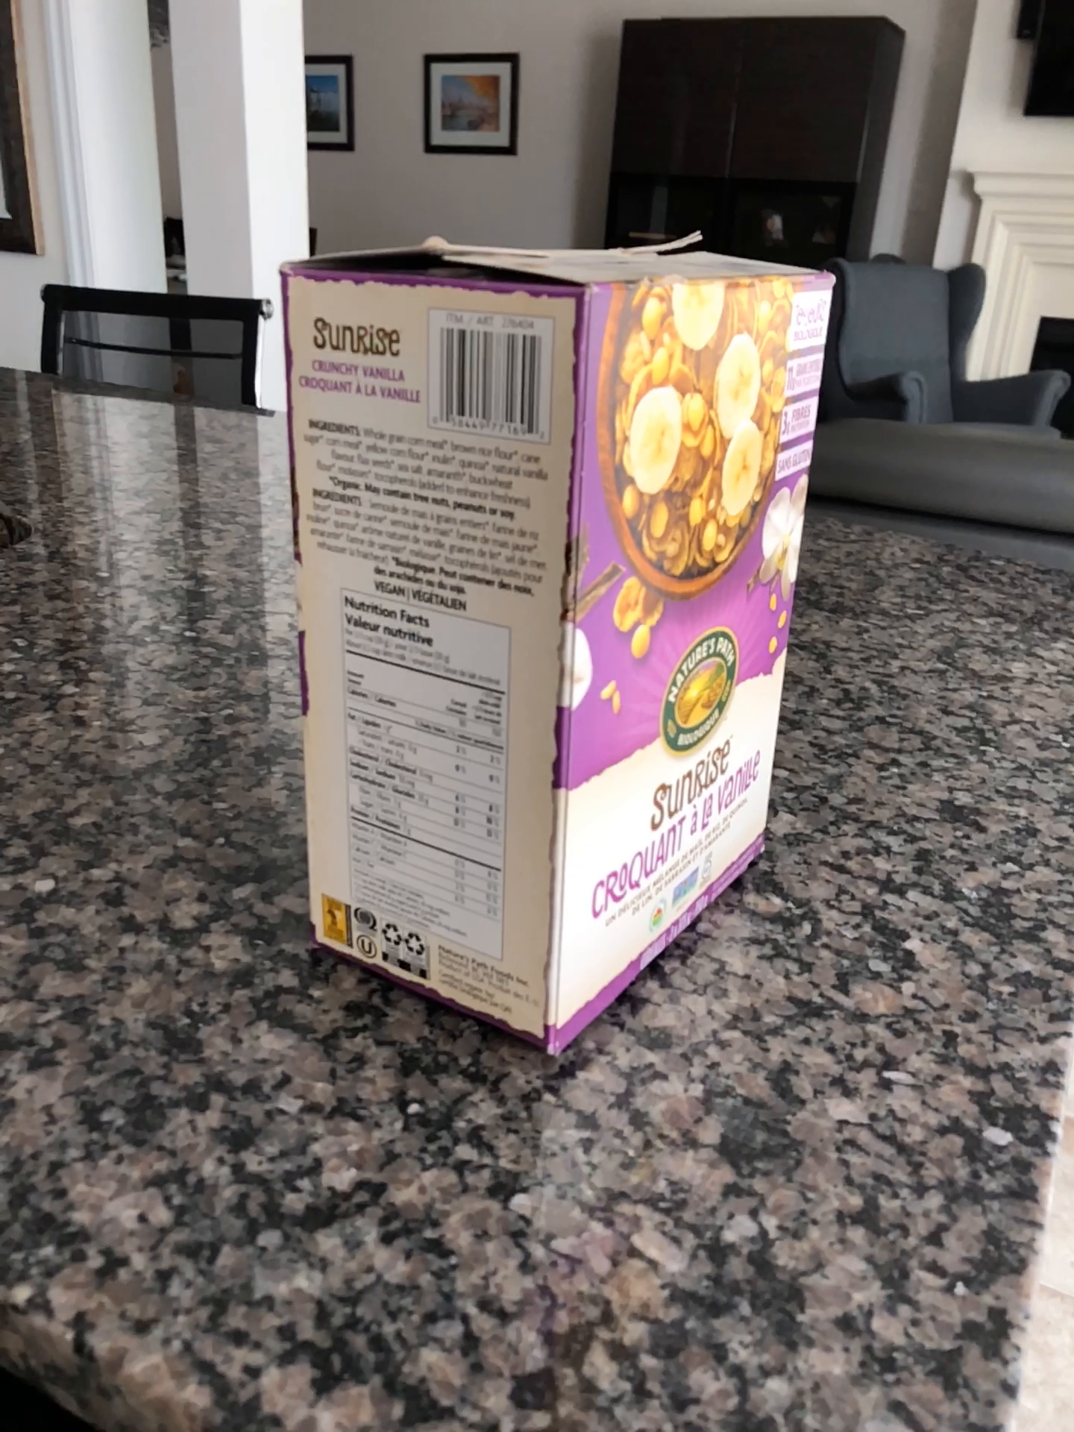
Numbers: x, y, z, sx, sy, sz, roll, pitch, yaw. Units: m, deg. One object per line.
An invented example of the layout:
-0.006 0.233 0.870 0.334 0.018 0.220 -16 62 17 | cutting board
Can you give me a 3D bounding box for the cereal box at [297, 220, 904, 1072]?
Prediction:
0.025 -0.041 0.404 0.110 0.229 0.181 16 27 28 | cereal box
